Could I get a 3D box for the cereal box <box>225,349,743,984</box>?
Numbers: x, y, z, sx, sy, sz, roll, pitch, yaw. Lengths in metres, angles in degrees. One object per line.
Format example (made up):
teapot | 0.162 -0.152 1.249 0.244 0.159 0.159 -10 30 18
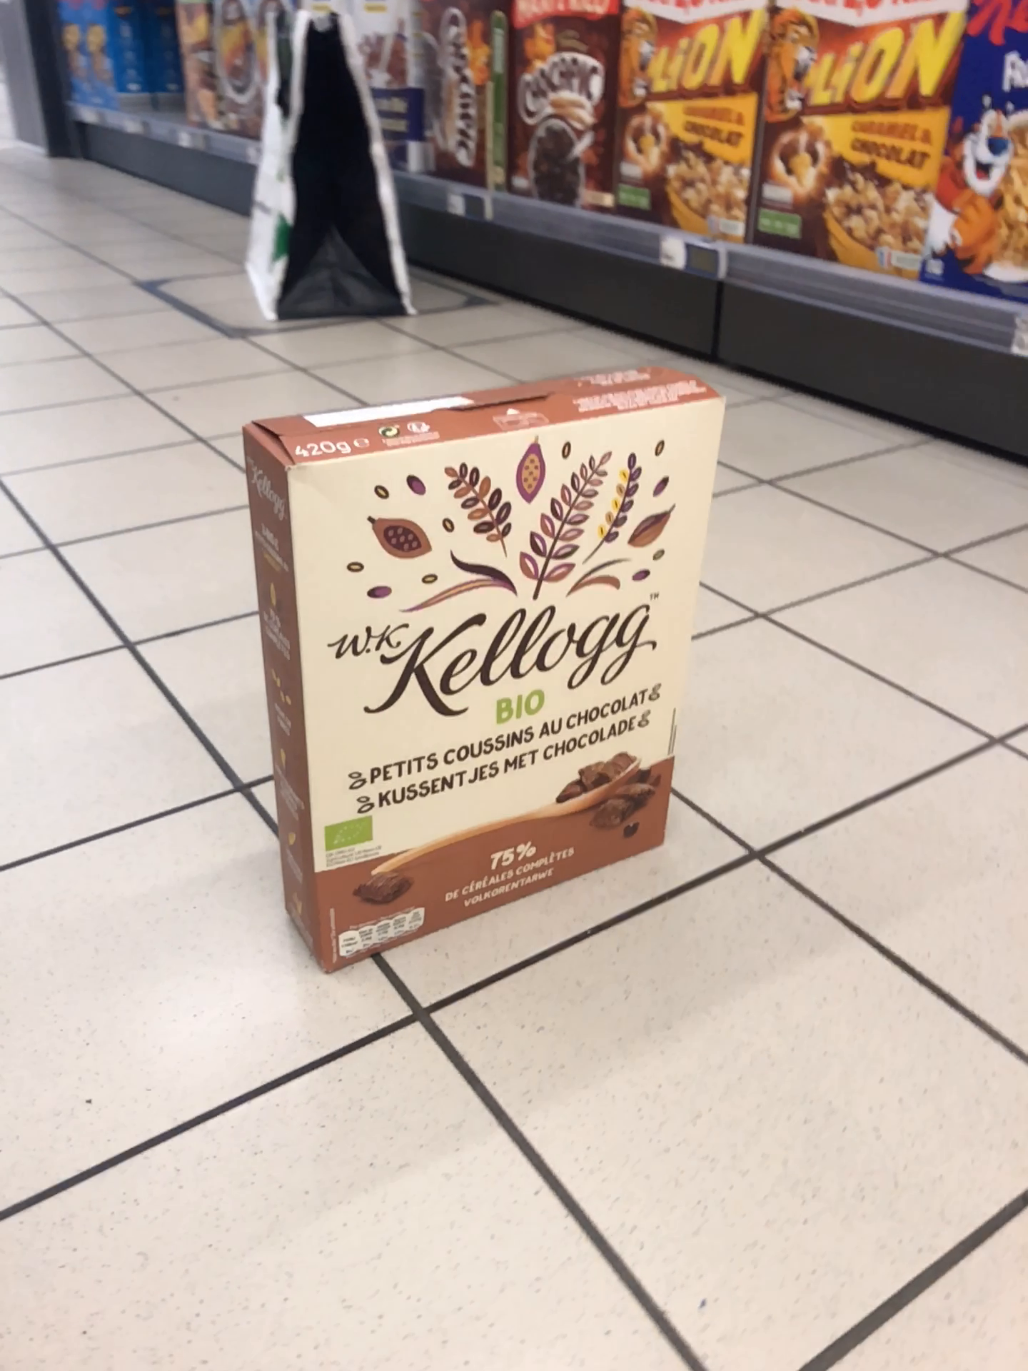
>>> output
cereal box | -0.011 -0.007 0.504 0.201 0.248 0.050 -15 36 -26
